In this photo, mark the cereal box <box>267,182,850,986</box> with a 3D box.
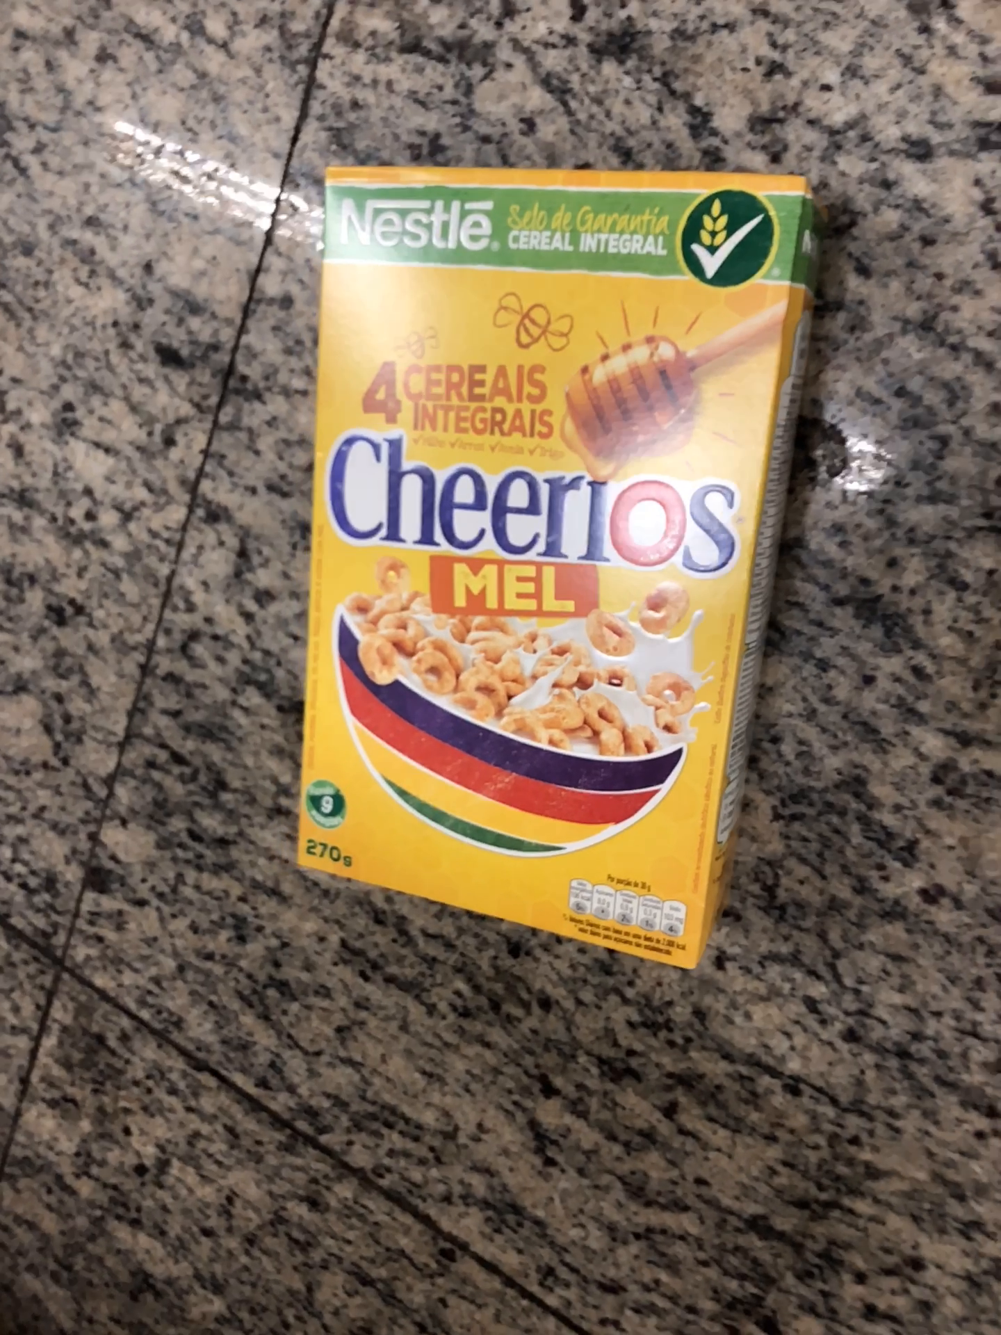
[{"bbox_3d":[0.013,-0.032,0.387,0.170,0.060,0.240,10,104,19],"label":"cereal box"}]
